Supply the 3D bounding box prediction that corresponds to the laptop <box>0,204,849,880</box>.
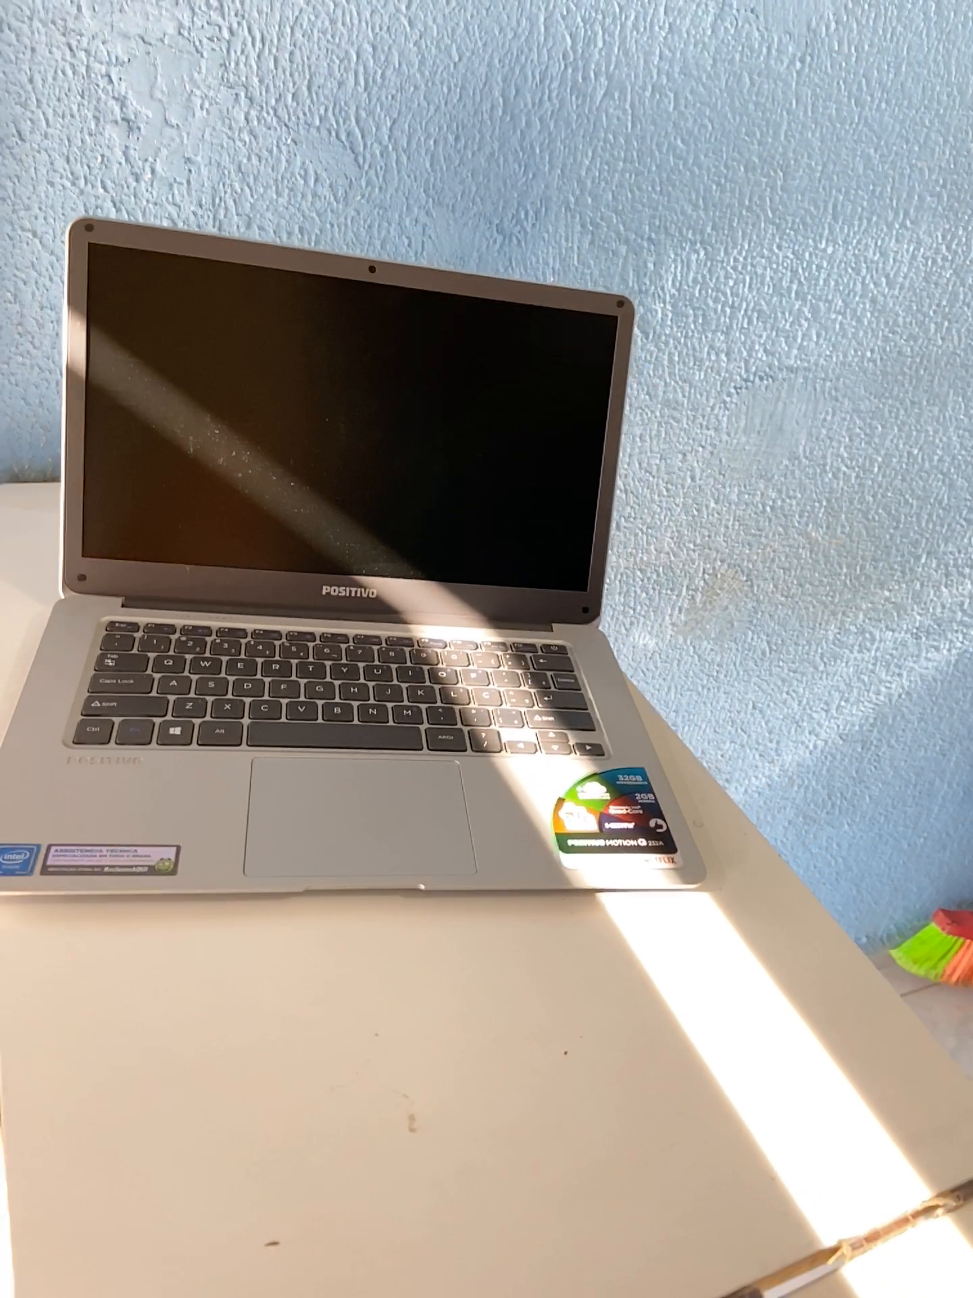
[{"bbox_3d":[-0.063,-0.068,0.520,0.333,0.189,0.312,3,34,-14],"label":"laptop"}]
